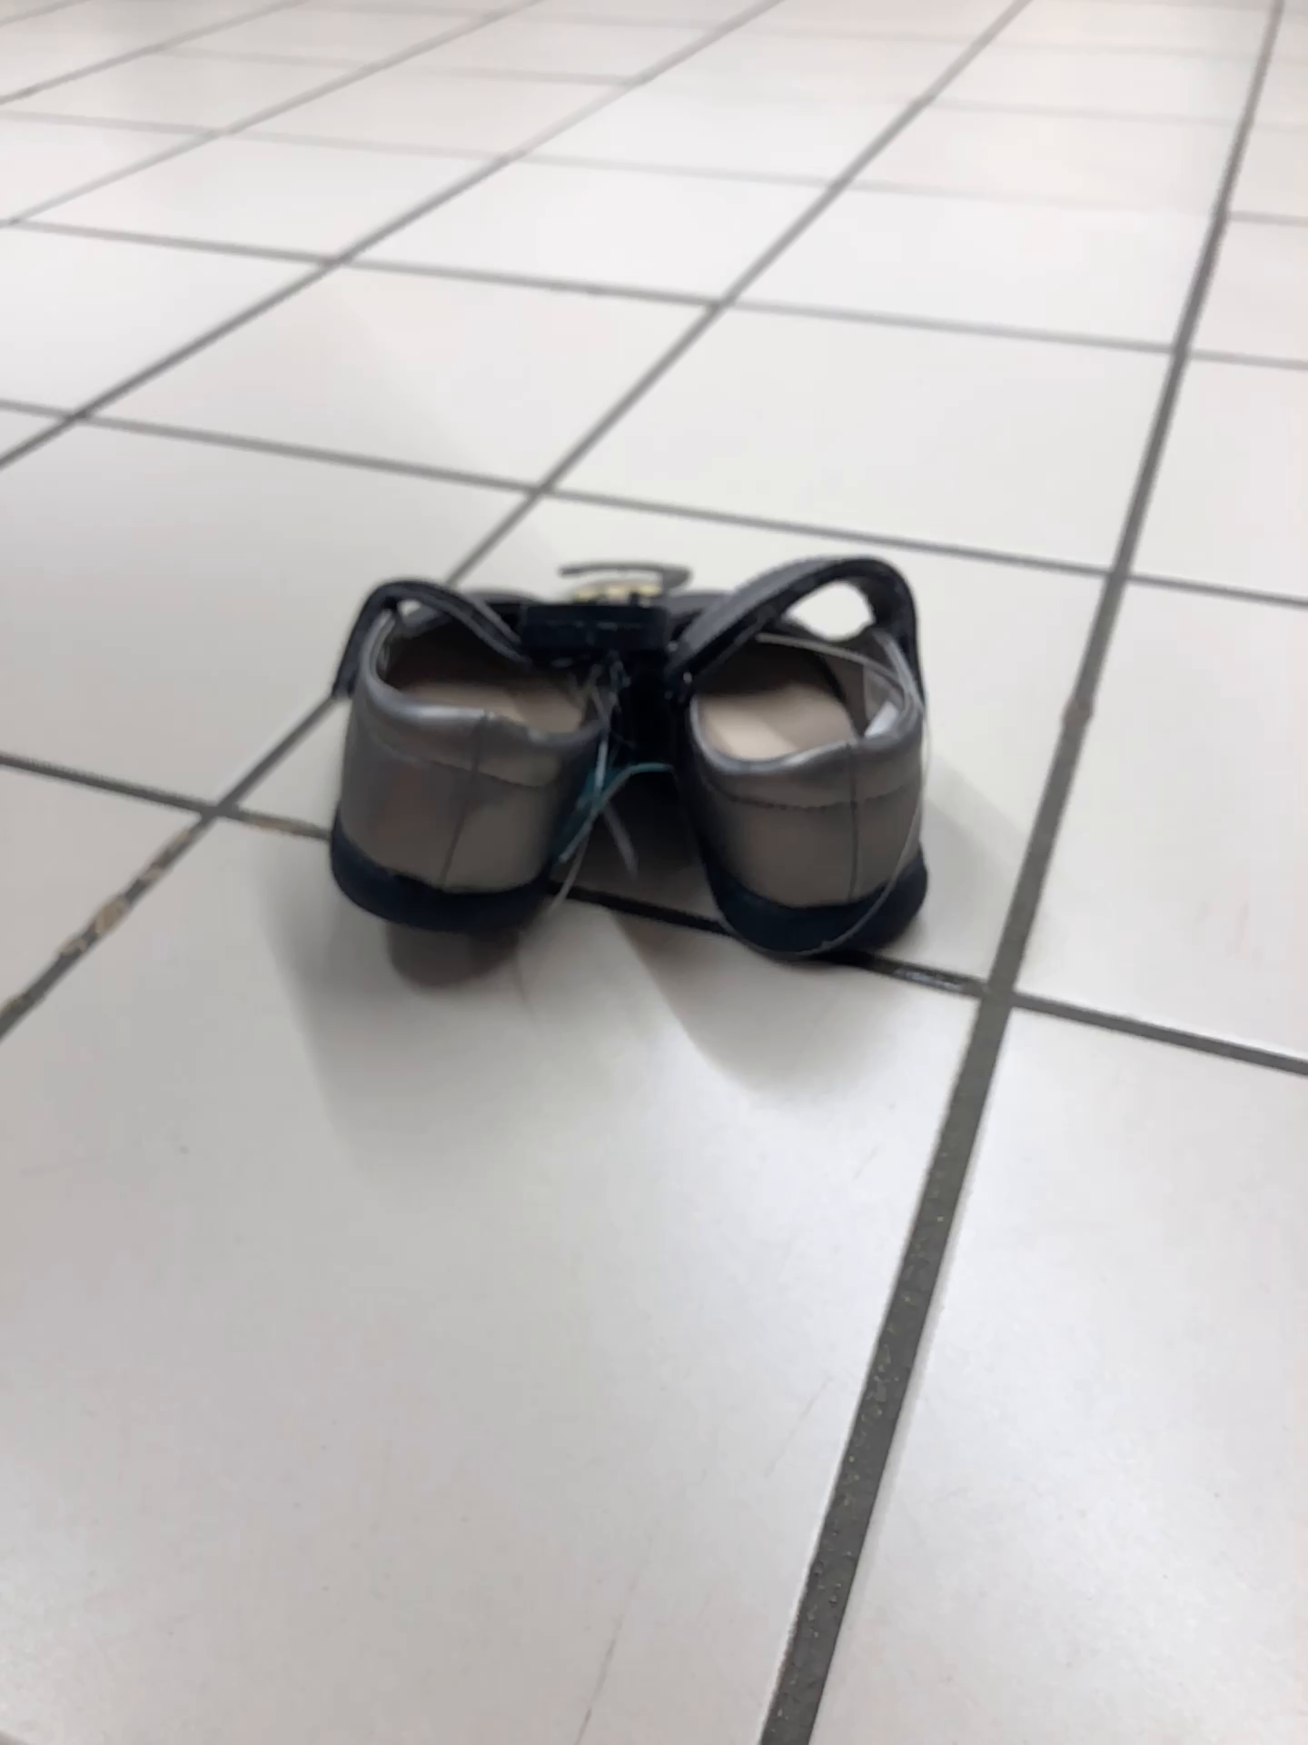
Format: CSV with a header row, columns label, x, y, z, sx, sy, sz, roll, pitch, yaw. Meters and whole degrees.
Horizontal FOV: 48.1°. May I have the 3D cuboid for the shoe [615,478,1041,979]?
label,x,y,z,sx,sy,sz,roll,pitch,yaw
shoe,0.034,-0.042,0.353,0.059,0.047,0.135,-9,40,-9

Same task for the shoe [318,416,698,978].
label,x,y,z,sx,sy,sz,roll,pitch,yaw
shoe,-0.033,-0.046,0.346,0.067,0.061,0.130,9,38,-10
